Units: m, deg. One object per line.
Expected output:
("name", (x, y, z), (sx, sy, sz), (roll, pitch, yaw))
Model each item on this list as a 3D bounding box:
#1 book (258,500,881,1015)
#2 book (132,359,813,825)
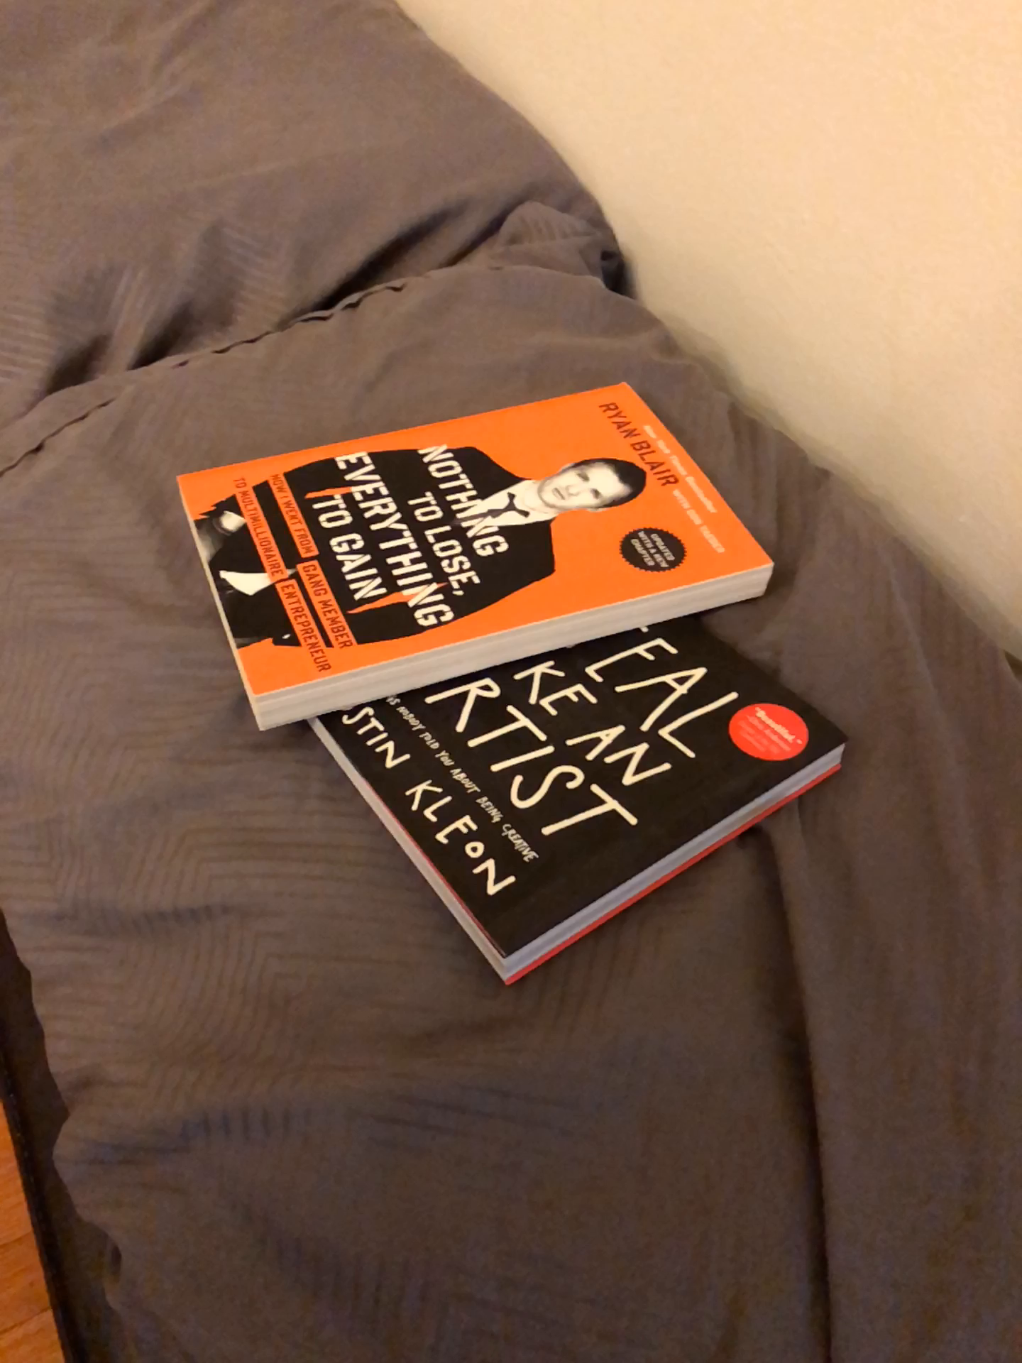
("book", (0.020, 0.013, 0.417), (0.170, 0.020, 0.150), (-29, 57, -24))
("book", (-0.021, -0.052, 0.467), (0.230, 0.020, 0.171), (-18, 54, -16))
